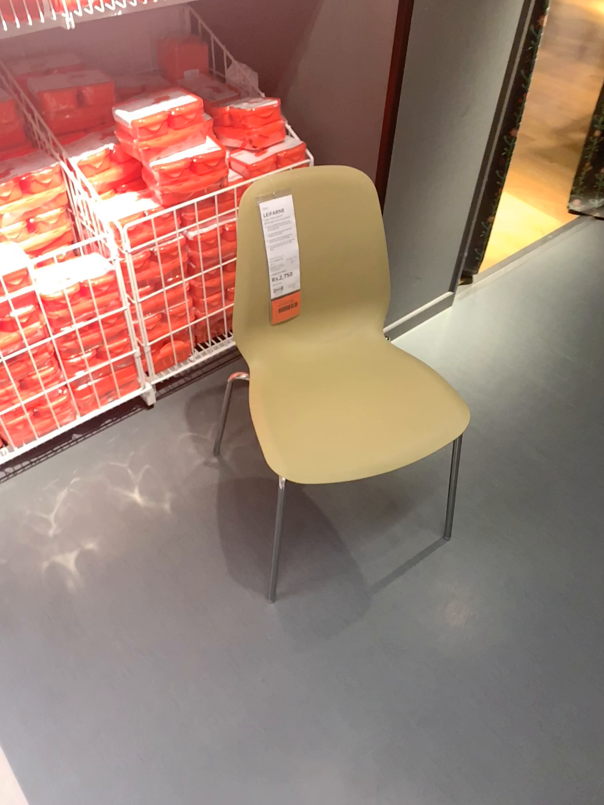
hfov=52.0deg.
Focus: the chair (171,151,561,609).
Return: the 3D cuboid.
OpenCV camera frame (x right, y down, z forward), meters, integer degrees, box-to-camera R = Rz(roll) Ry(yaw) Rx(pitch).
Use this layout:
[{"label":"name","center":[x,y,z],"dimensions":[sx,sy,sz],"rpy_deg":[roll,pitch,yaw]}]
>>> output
[{"label":"chair","center":[0.064,-0.039,1.347],"dimensions":[0.500,0.728,0.552],"rpy_deg":[-14,49,-15]}]
